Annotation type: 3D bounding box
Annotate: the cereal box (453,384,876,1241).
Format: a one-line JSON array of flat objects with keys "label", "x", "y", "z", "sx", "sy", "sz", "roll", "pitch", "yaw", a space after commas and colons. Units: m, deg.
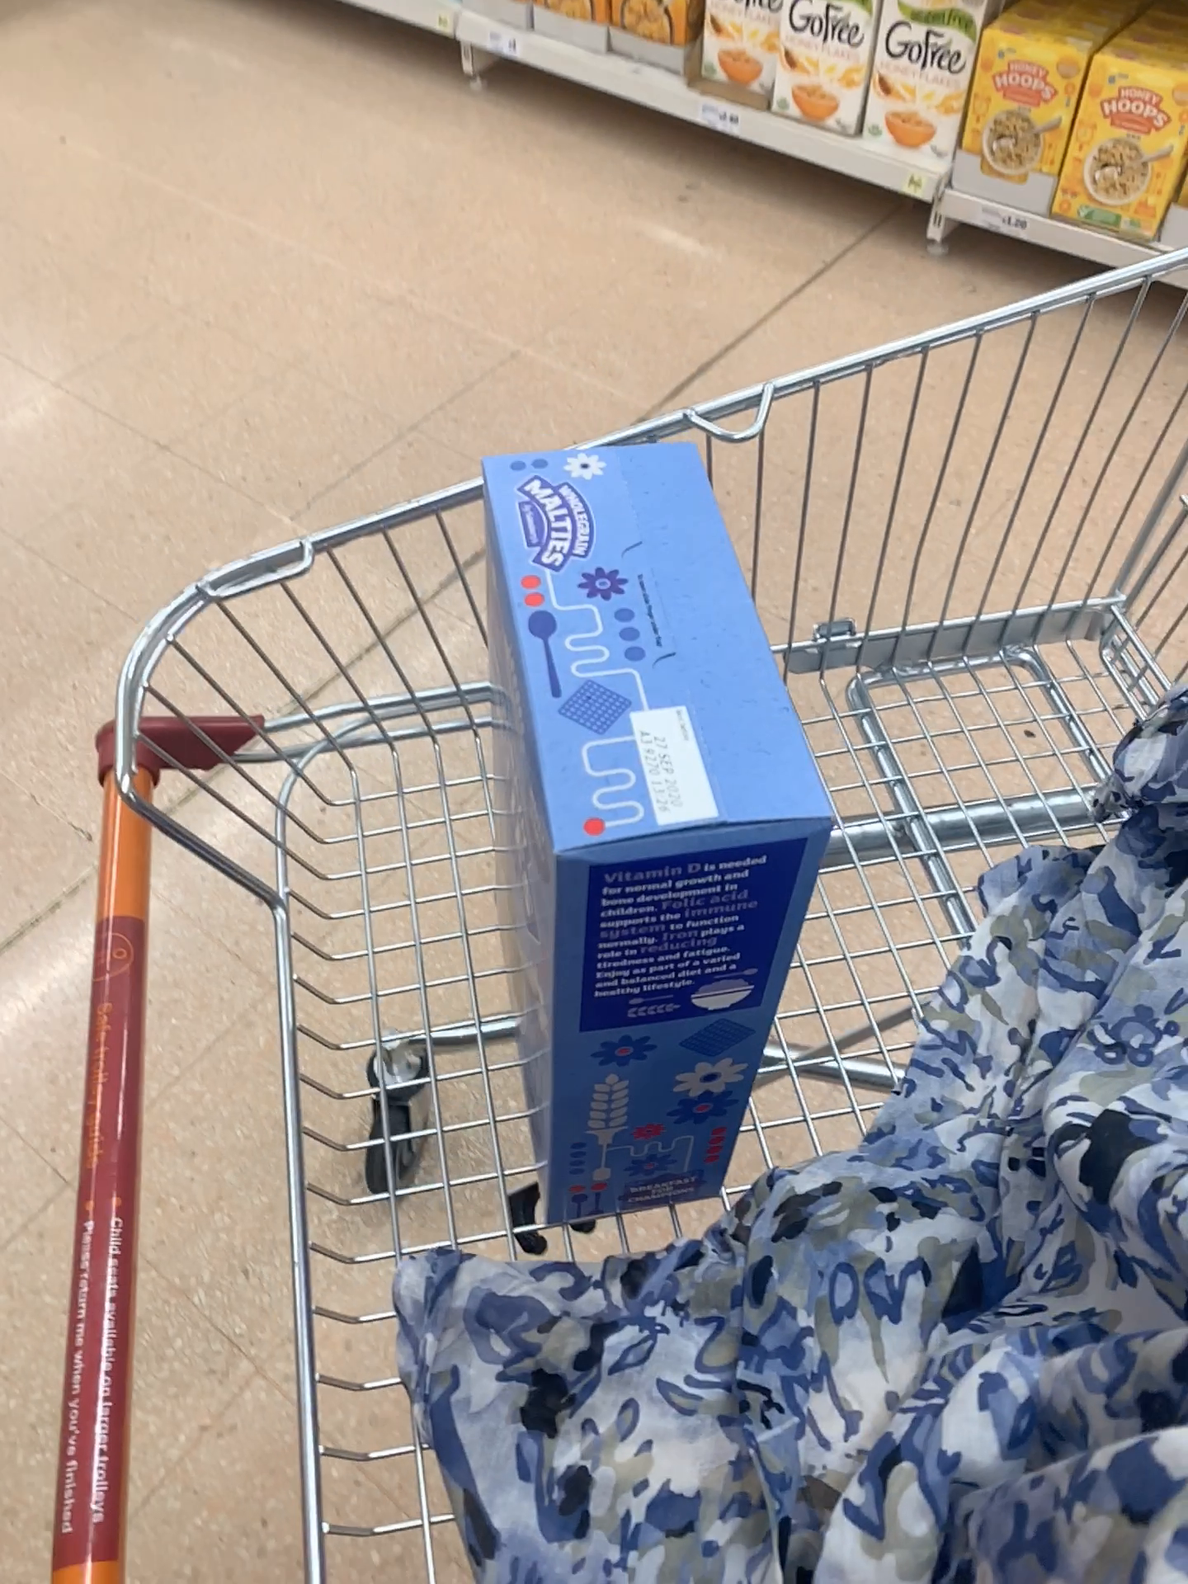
[{"label": "cereal box", "x": 0.006, "y": 0.022, "z": 0.507, "sx": 0.090, "sy": 0.287, "sz": 0.222, "roll": -7, "pitch": 52, "yaw": -9}]
